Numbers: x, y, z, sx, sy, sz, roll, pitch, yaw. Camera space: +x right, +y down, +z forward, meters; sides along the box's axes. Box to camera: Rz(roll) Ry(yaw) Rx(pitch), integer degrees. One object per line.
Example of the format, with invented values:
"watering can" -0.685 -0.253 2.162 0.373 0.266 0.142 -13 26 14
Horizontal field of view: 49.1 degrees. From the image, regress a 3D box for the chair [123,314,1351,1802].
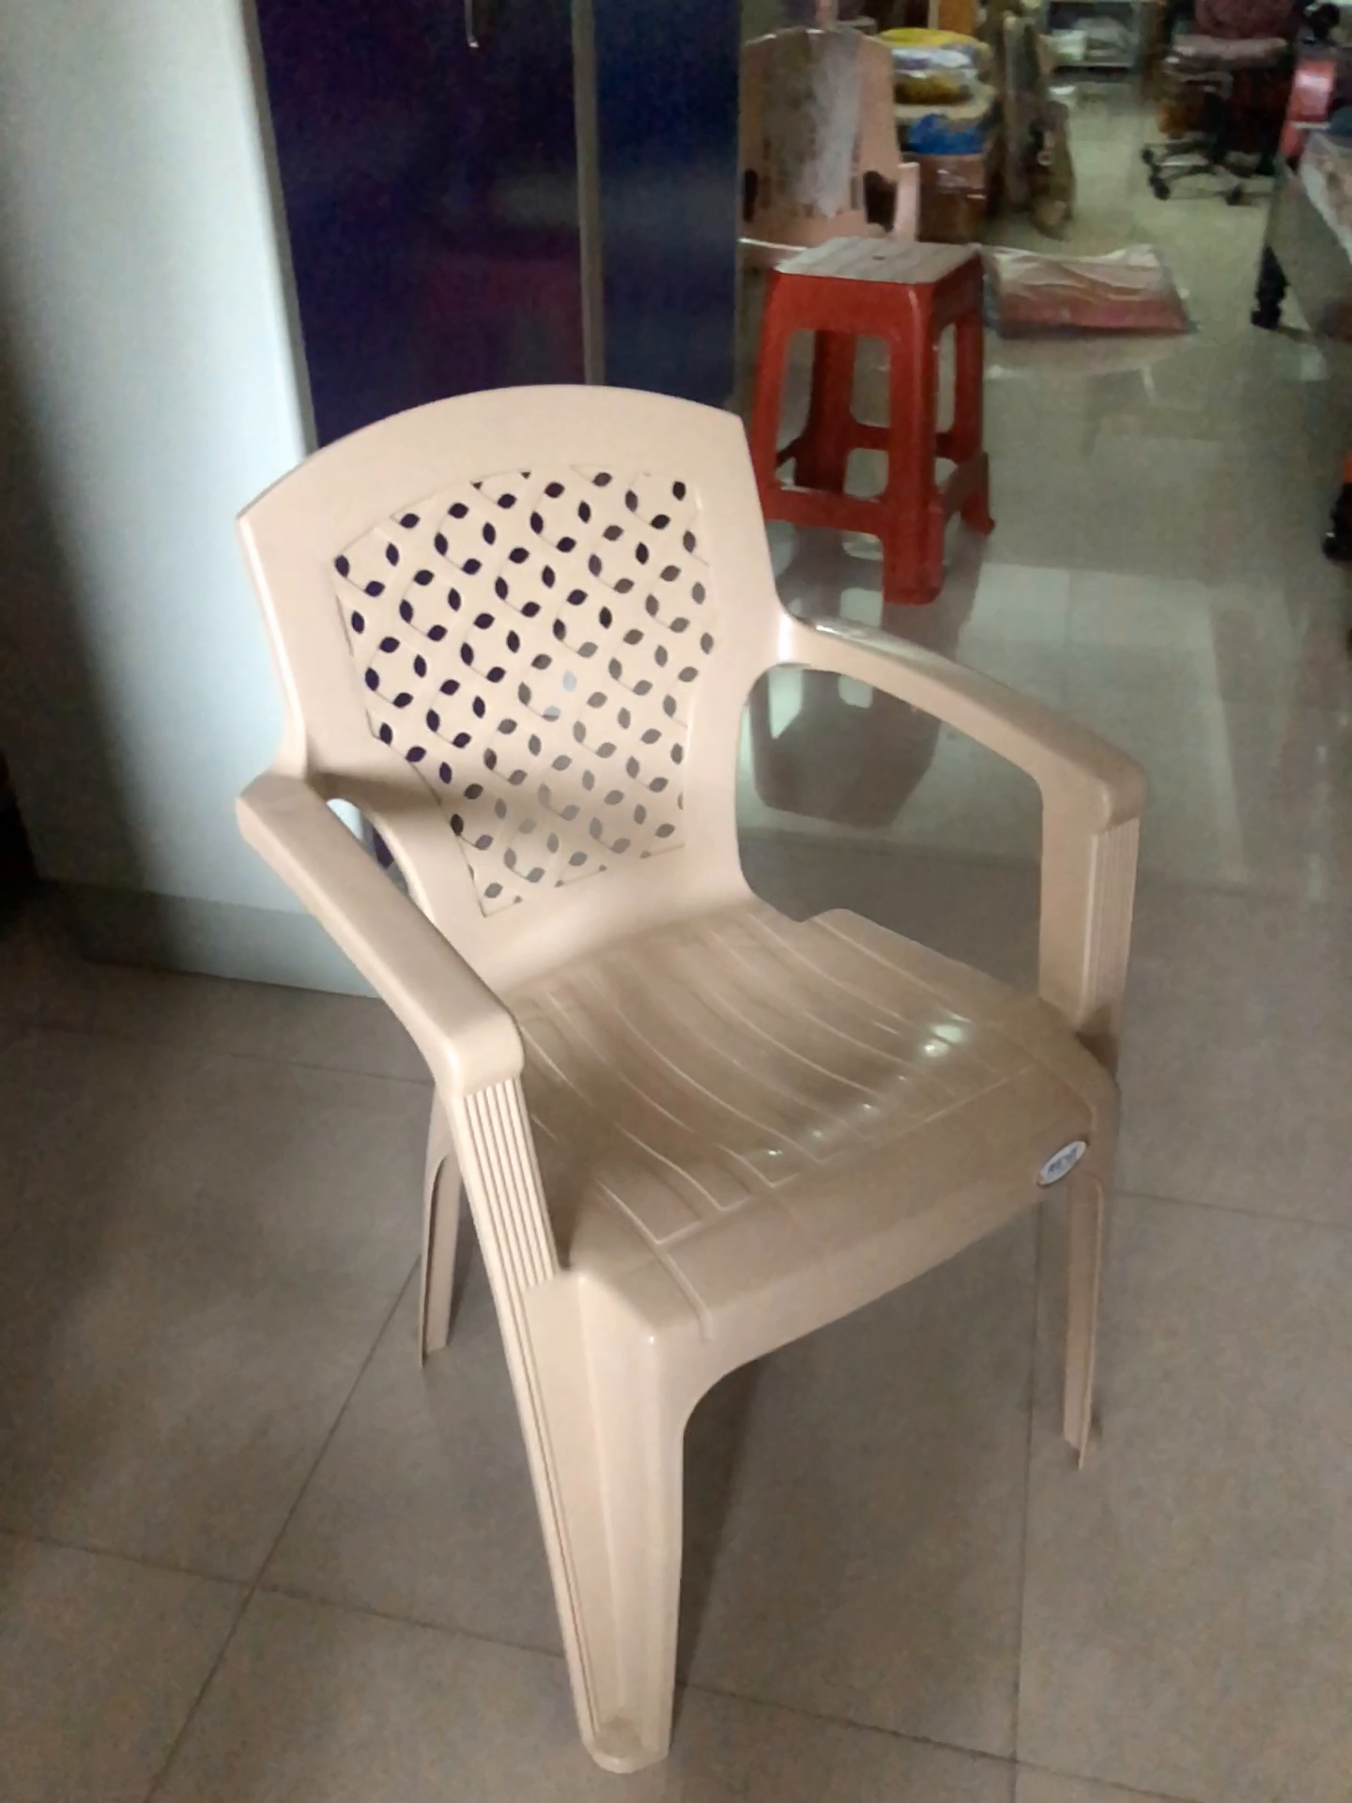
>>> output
"chair" 0.036 0.080 1.088 0.542 0.796 0.561 -21 39 -26
